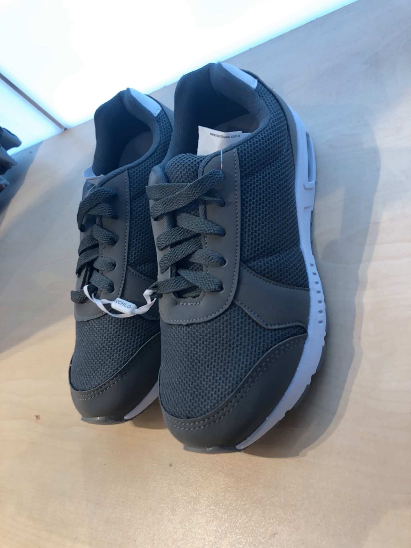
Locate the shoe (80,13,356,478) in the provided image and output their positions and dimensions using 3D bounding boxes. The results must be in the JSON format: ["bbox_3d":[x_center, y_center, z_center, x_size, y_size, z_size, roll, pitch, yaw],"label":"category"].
[{"bbox_3d":[0.022,-0.015,0.279,0.100,0.099,0.240,-11,60,33],"label":"shoe"}]

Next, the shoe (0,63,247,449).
[{"bbox_3d":[-0.051,-0.010,0.323,0.100,0.099,0.230,-8,61,35],"label":"shoe"}]
